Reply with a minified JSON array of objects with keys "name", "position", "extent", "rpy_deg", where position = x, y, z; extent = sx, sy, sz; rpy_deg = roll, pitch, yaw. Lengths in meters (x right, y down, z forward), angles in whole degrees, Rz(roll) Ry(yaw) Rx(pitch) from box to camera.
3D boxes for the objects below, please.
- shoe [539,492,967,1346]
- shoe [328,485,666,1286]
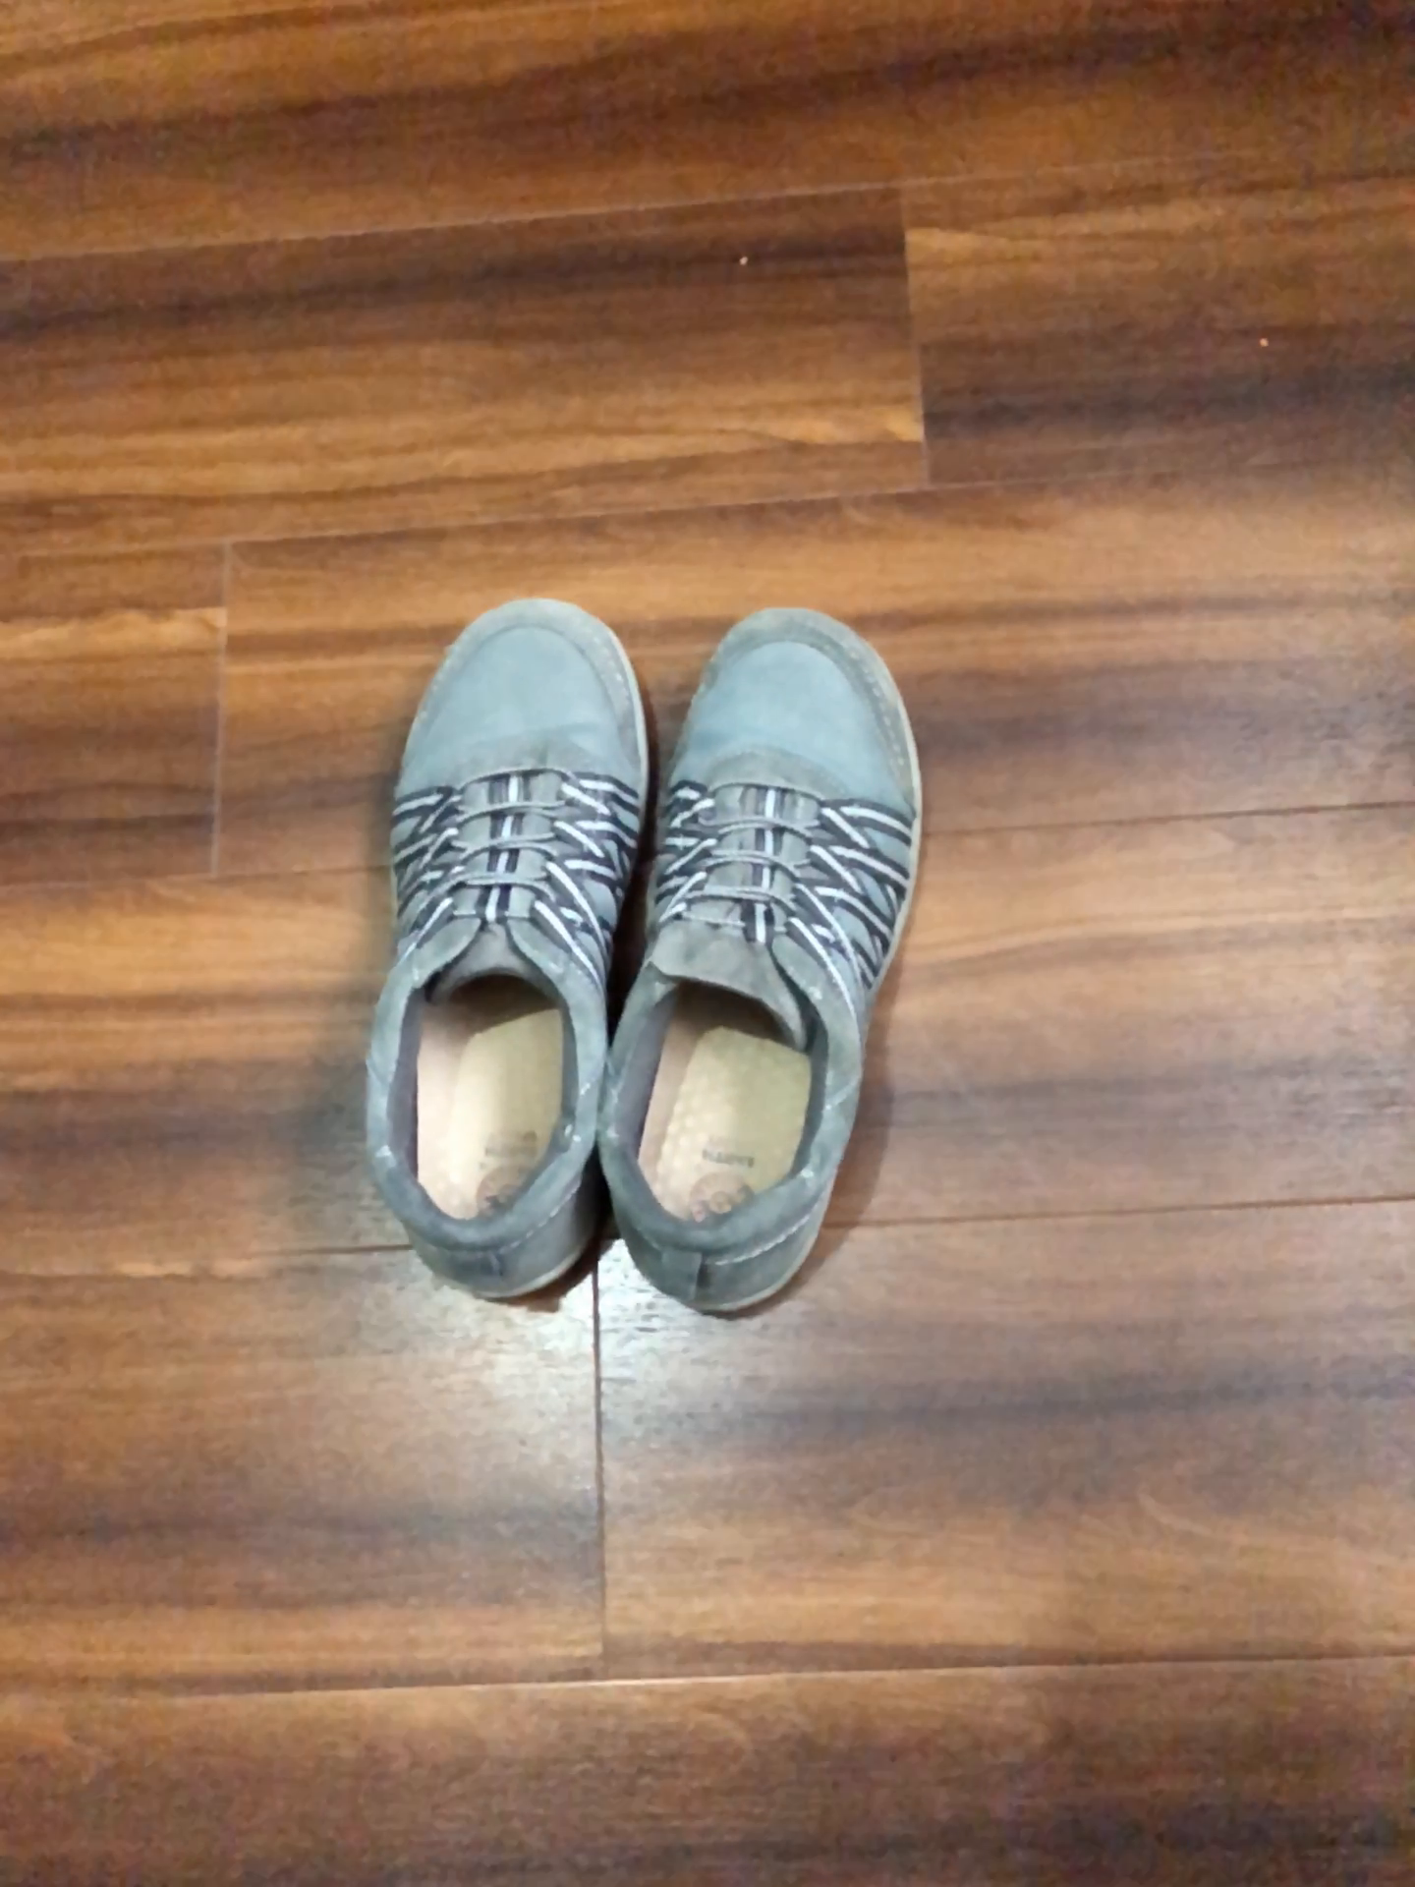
[{"name":"shoe","position":[0.023,-0.005,0.567],"extent":[0.100,0.110,0.280],"rpy_deg":[8,76,6]},{"name":"shoe","position":[-0.073,-0.017,0.593],"extent":[0.100,0.110,0.280],"rpy_deg":[-2,75,3]}]
